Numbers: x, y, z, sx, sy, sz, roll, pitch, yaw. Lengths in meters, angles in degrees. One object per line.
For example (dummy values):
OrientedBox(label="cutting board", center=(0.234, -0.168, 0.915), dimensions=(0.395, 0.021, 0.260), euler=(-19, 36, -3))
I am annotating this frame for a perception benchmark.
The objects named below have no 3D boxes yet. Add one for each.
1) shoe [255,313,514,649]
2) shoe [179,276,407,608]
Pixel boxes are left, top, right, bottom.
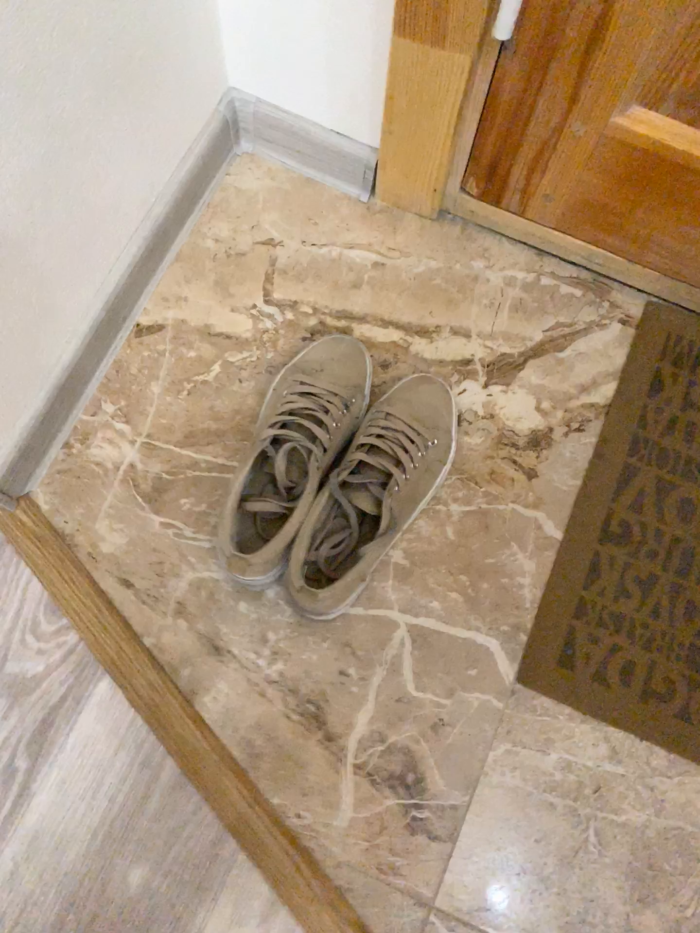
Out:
OrientedBox(label="shoe", center=(0.029, 0.014, 0.578), dimensions=(0.090, 0.100, 0.240), euler=(28, 74, 6))
OrientedBox(label="shoe", center=(-0.040, -0.018, 0.594), dimensions=(0.090, 0.100, 0.240), euler=(20, 73, 4))
